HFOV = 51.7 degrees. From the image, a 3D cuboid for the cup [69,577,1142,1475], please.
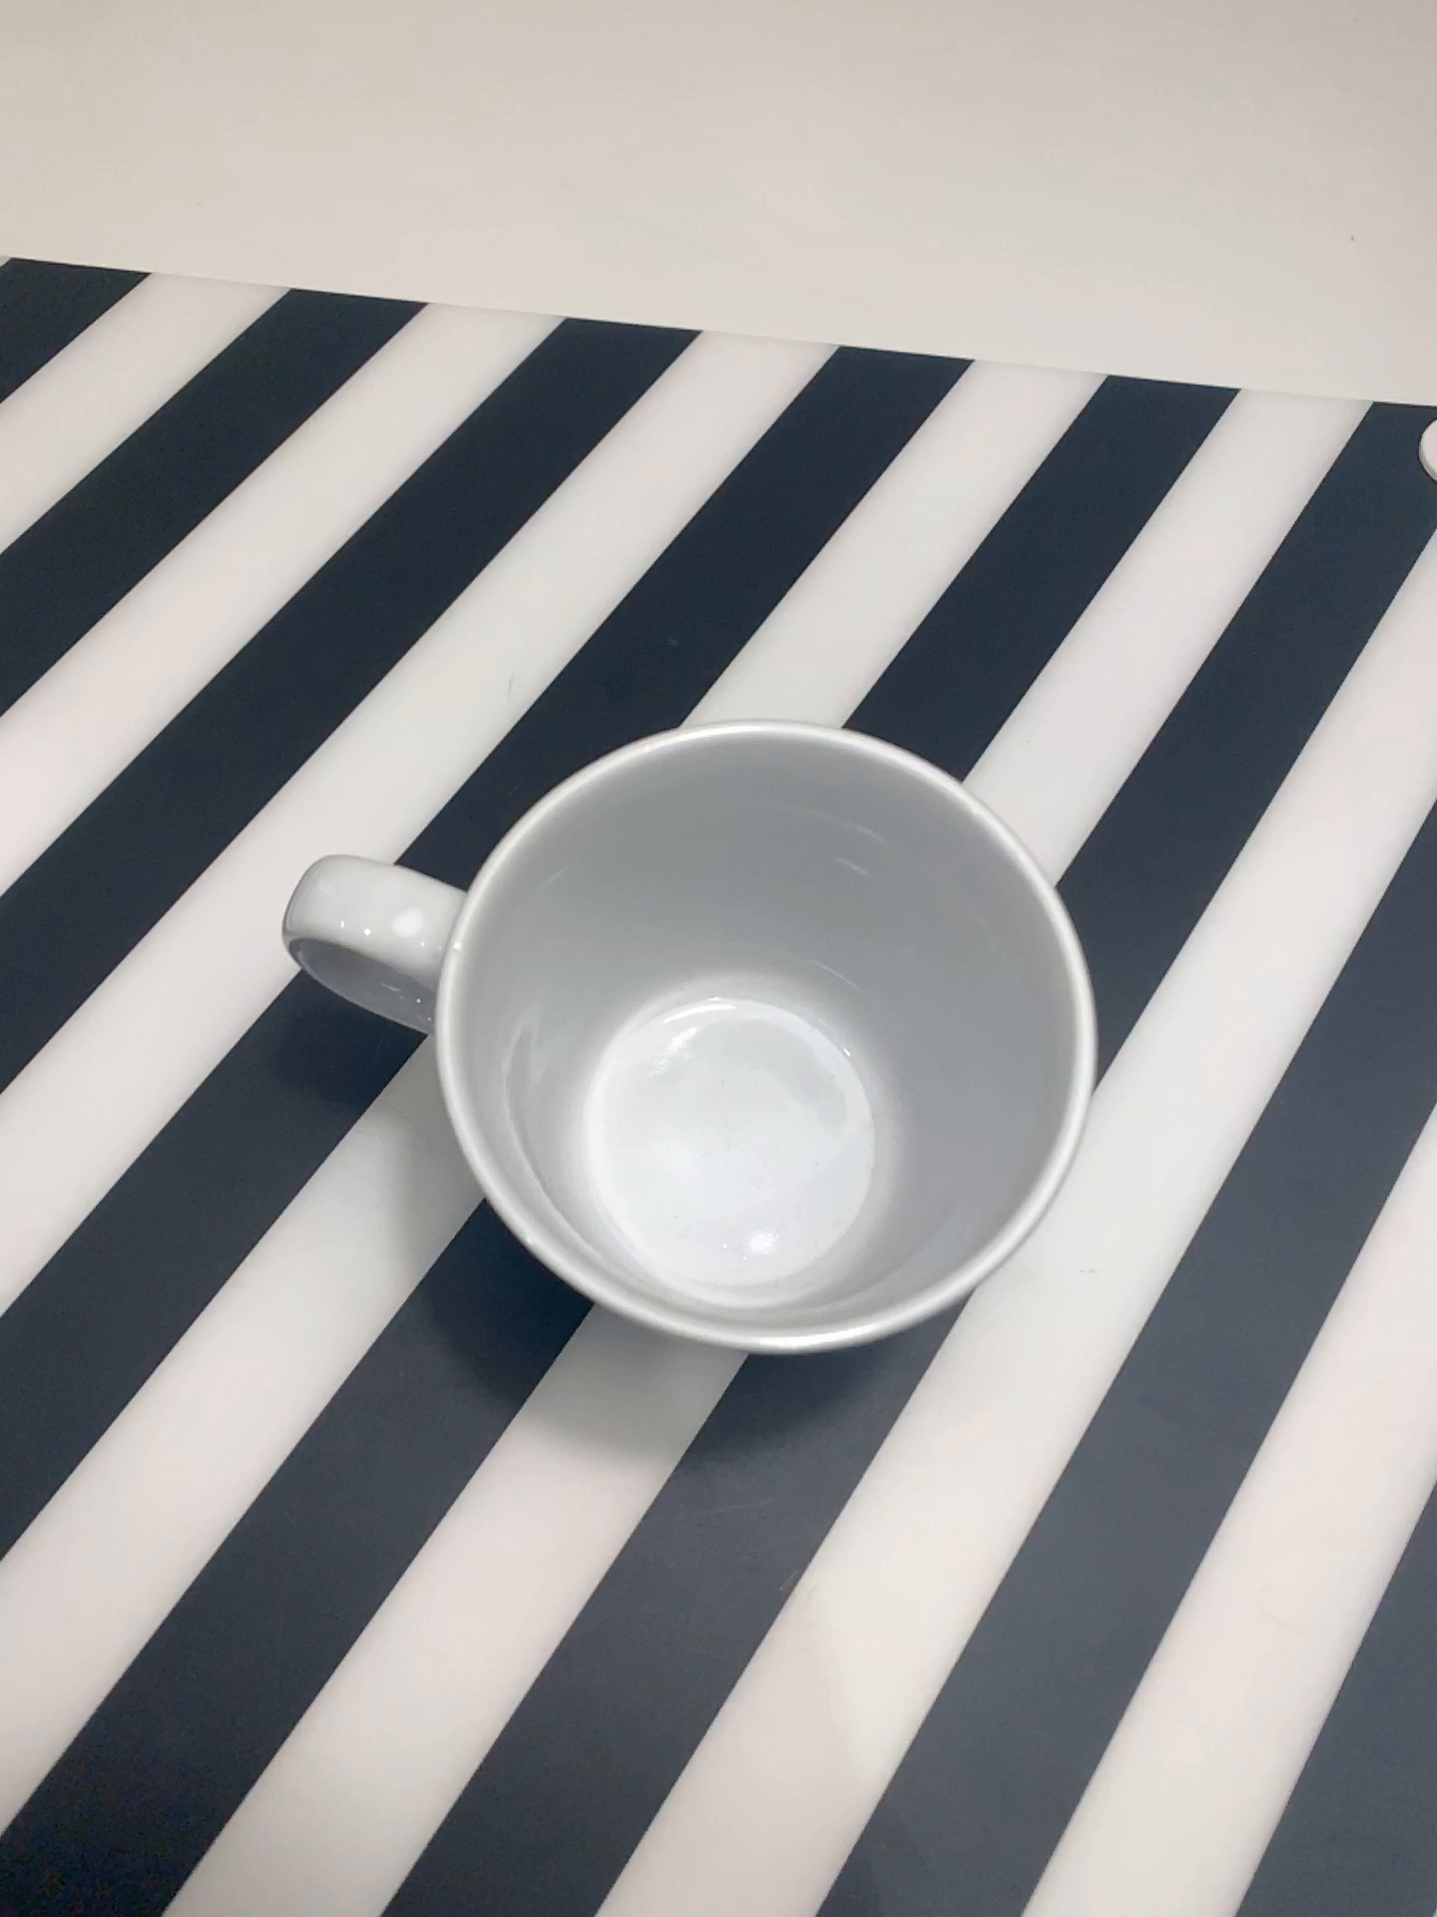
[{"bbox_3d":[-0.012,0.014,0.214,0.110,0.070,0.080,19,68,3],"label":"cup"}]
